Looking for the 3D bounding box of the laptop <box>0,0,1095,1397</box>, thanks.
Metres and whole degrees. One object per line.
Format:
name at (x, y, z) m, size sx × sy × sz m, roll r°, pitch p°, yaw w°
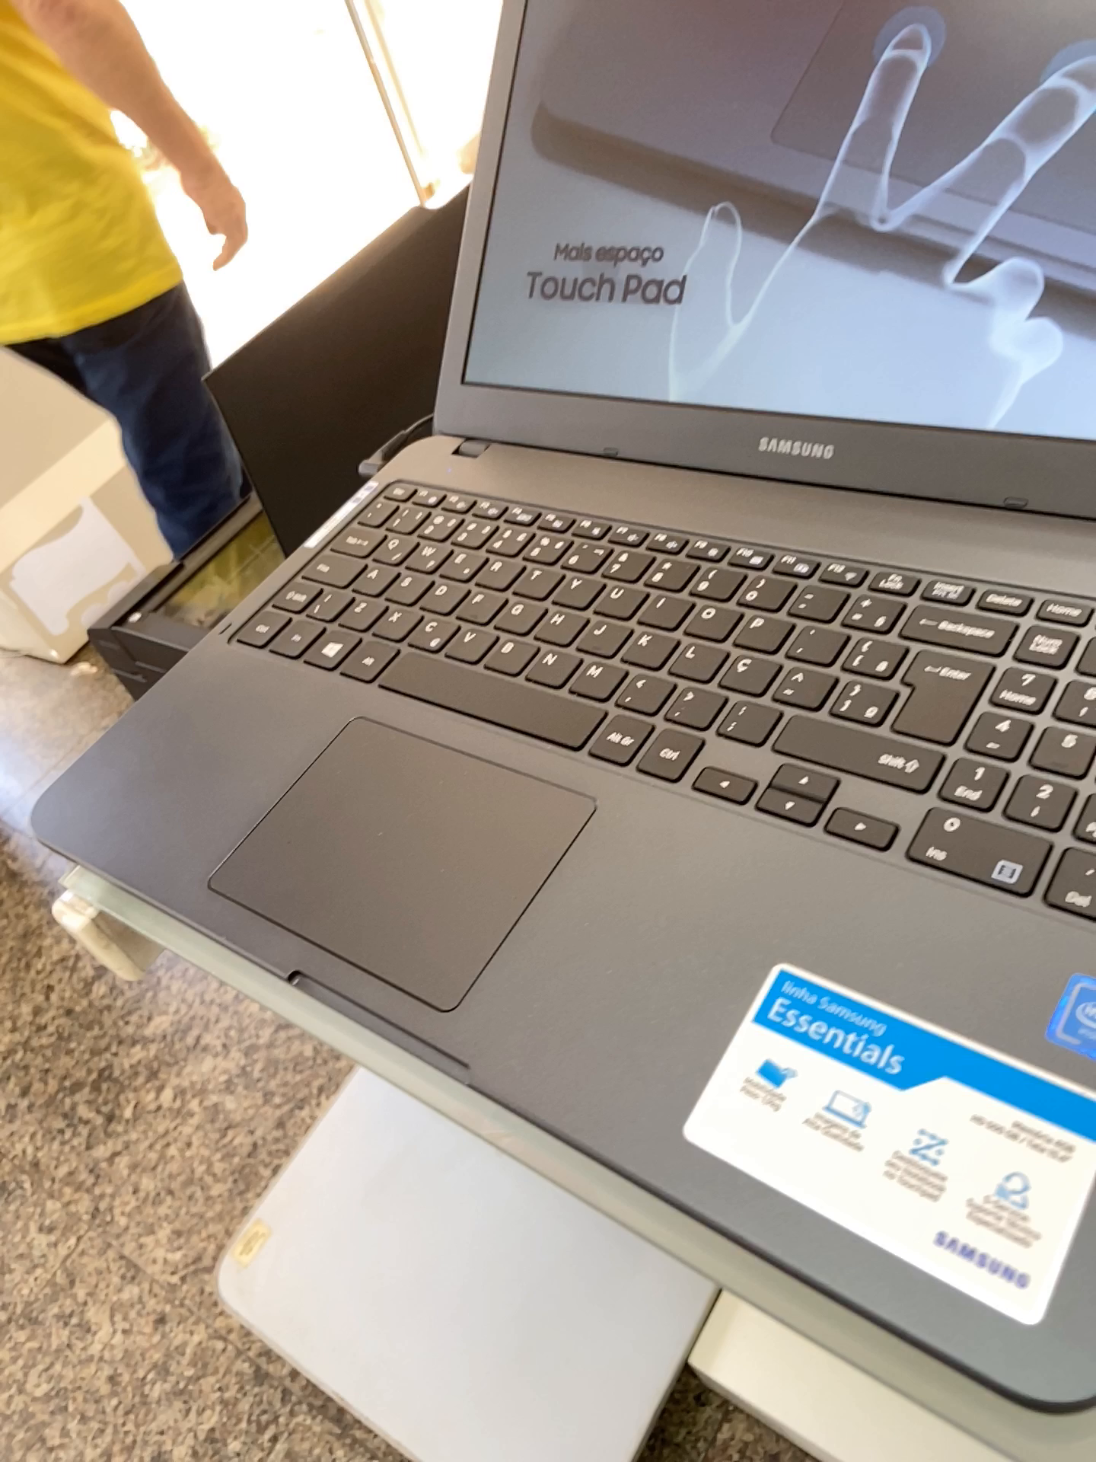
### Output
laptop at (0.045, -0.122, 0.348) m, size 0.368 × 0.157 × 0.412 m, roll 17°, pitch 56°, yaw 35°
